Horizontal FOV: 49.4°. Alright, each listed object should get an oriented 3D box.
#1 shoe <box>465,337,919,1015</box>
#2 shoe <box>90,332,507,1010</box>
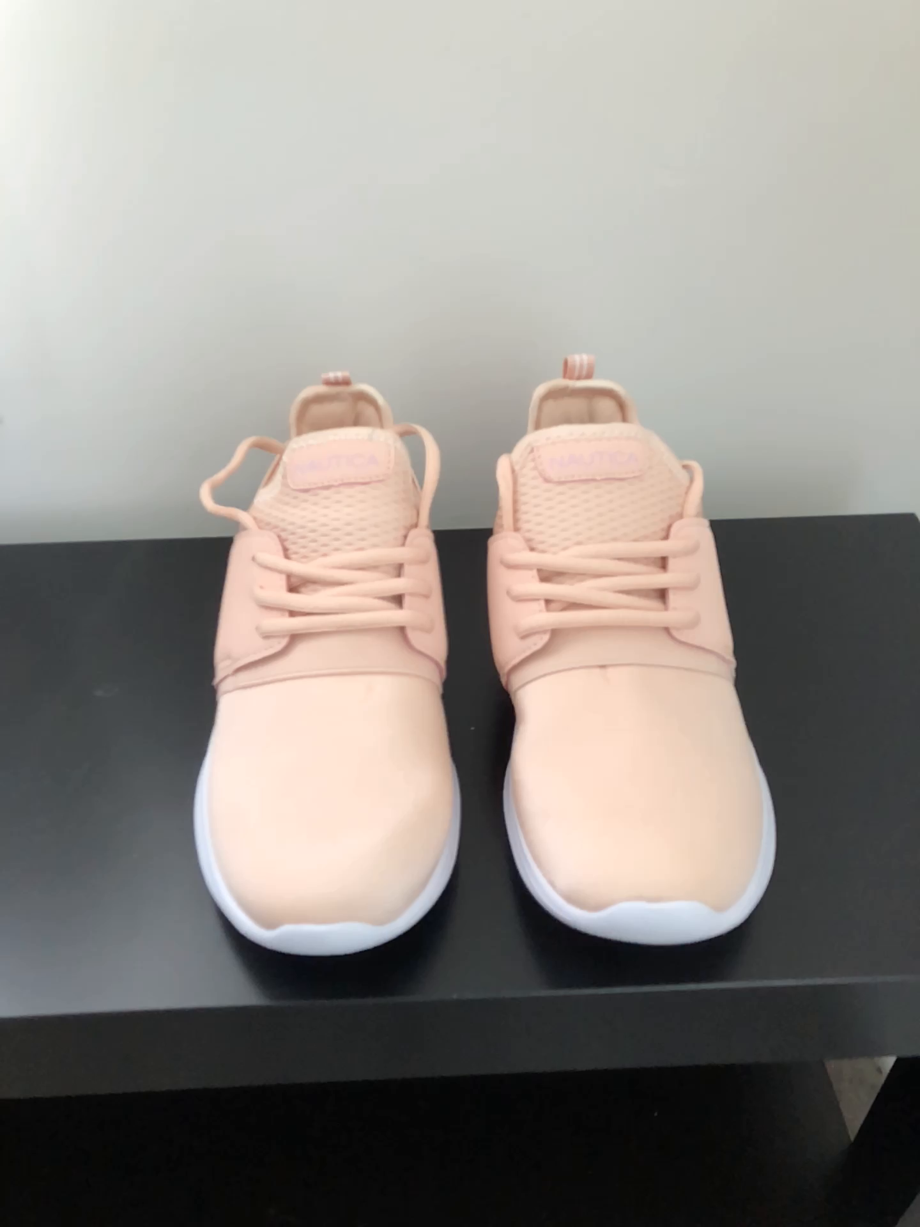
[{"bbox_3d":[0.058,0.002,0.364,0.100,0.110,0.241,-2,39,-2],"label":"shoe"},{"bbox_3d":[-0.044,-0.001,0.373,0.100,0.110,0.251,-2,39,-2],"label":"shoe"}]
